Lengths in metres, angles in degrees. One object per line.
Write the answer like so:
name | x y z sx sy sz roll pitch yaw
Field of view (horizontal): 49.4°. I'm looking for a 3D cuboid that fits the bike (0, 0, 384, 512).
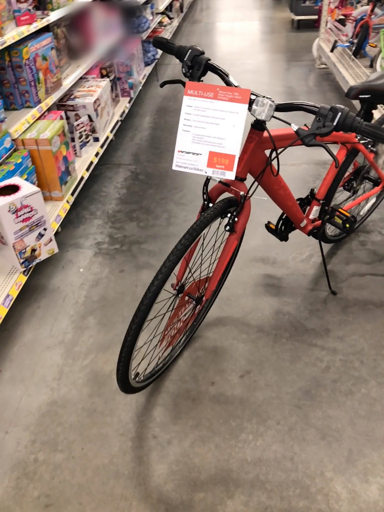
bike | 0.416 -0.199 1.438 1.691 1.000 0.615 -34 47 -31
